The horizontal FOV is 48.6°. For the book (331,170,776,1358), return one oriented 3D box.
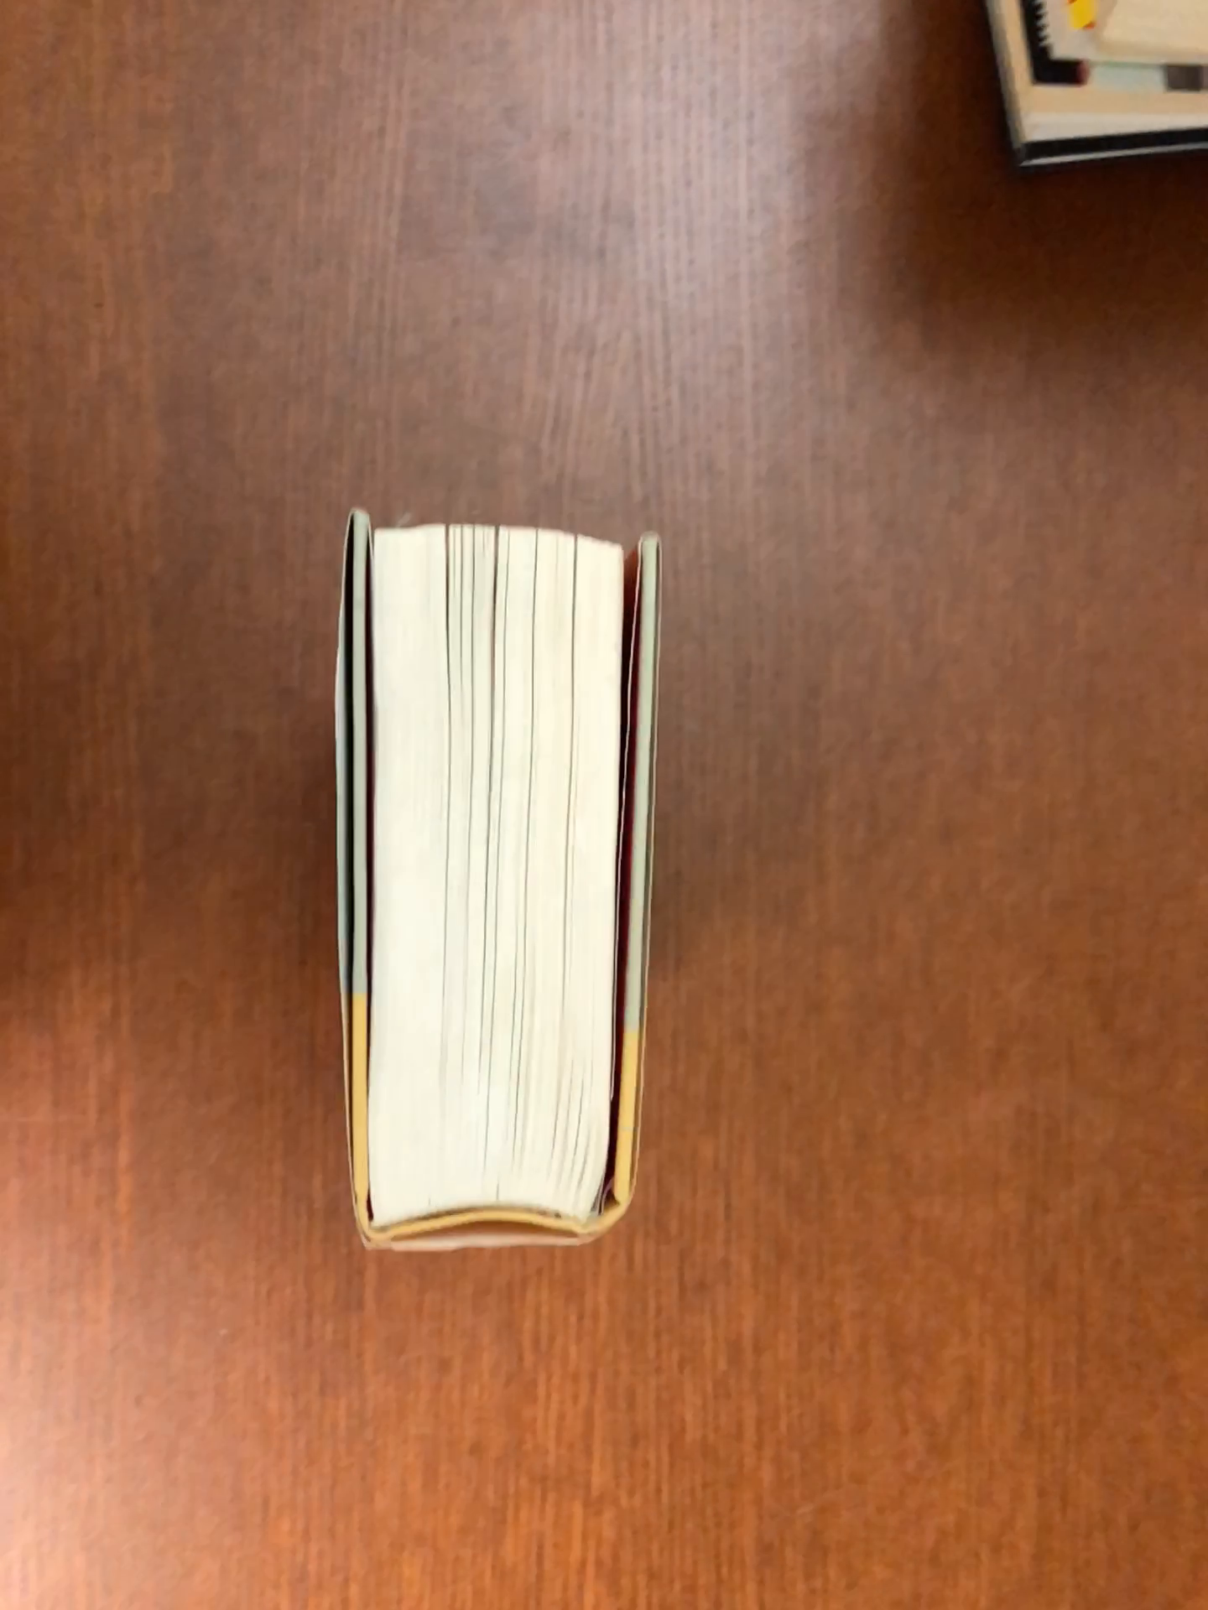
[{"bbox_3d":[-0.031,0.000,0.388,0.070,0.300,0.210,3,86,-9],"label":"book"}]
